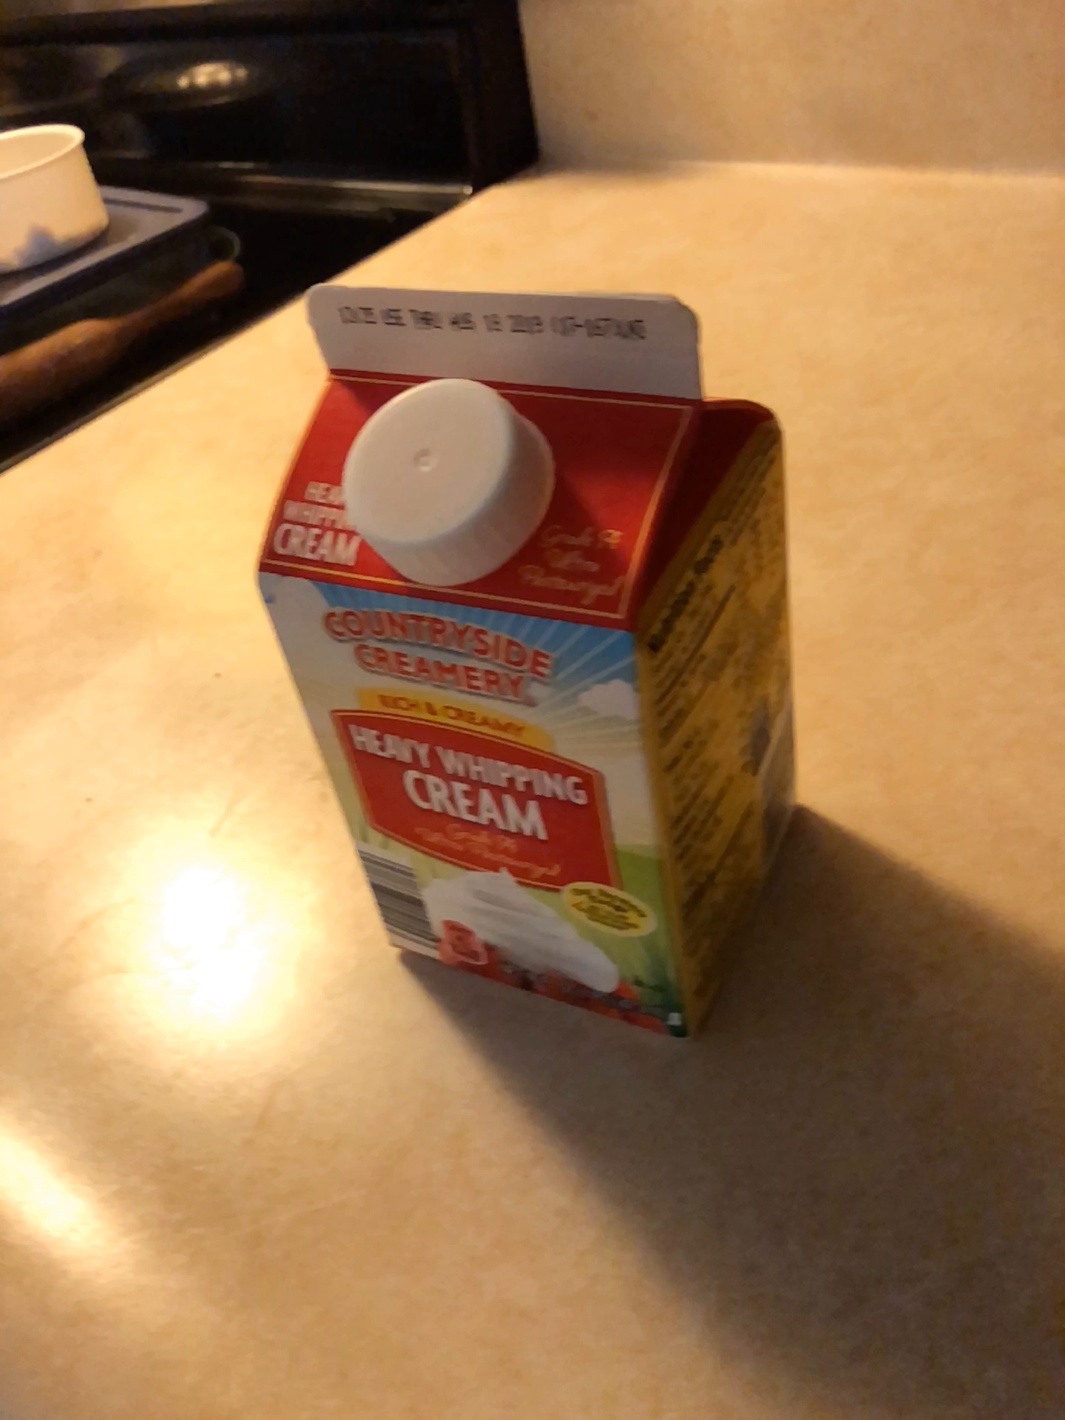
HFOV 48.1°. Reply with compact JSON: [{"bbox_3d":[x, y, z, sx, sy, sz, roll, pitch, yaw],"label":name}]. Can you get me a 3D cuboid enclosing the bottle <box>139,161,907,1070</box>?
[{"bbox_3d":[0.012,-0.020,0.226,0.090,0.130,0.090,-7,38,6],"label":"bottle"}]
